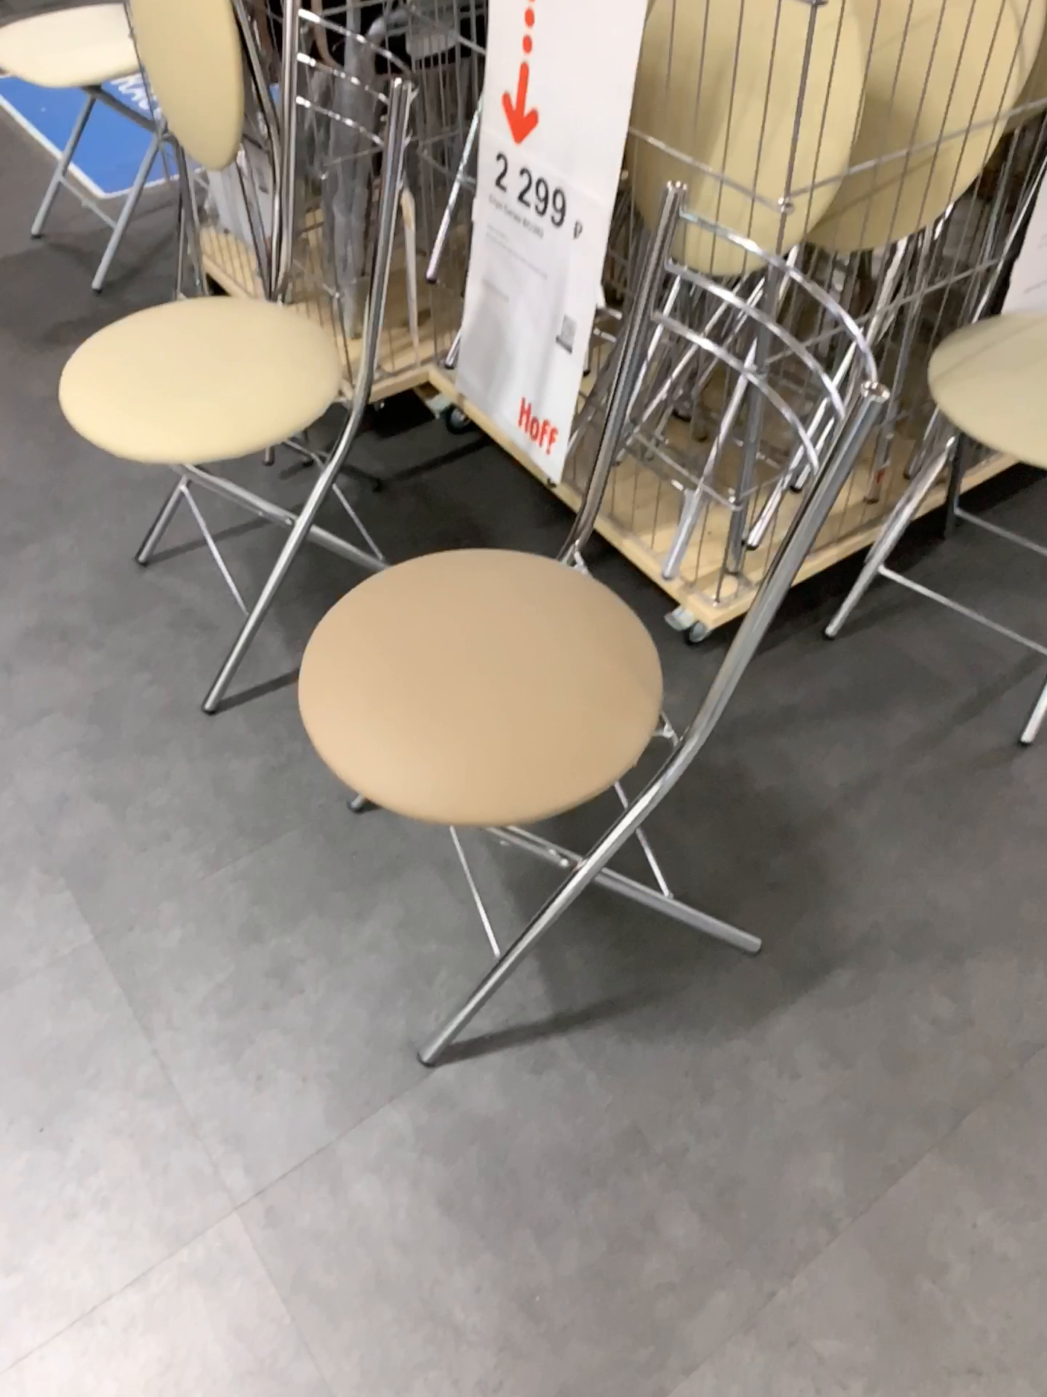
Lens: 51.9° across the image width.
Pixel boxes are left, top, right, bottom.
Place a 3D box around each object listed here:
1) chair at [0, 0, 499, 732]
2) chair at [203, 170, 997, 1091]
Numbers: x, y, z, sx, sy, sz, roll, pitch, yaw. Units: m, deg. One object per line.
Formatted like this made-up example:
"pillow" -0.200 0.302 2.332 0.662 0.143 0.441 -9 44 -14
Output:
"chair" -0.394 -0.470 1.561 0.491 0.776 0.522 -25 53 -19
"chair" 0.037 -0.024 1.146 0.490 0.796 0.442 -16 51 -12
